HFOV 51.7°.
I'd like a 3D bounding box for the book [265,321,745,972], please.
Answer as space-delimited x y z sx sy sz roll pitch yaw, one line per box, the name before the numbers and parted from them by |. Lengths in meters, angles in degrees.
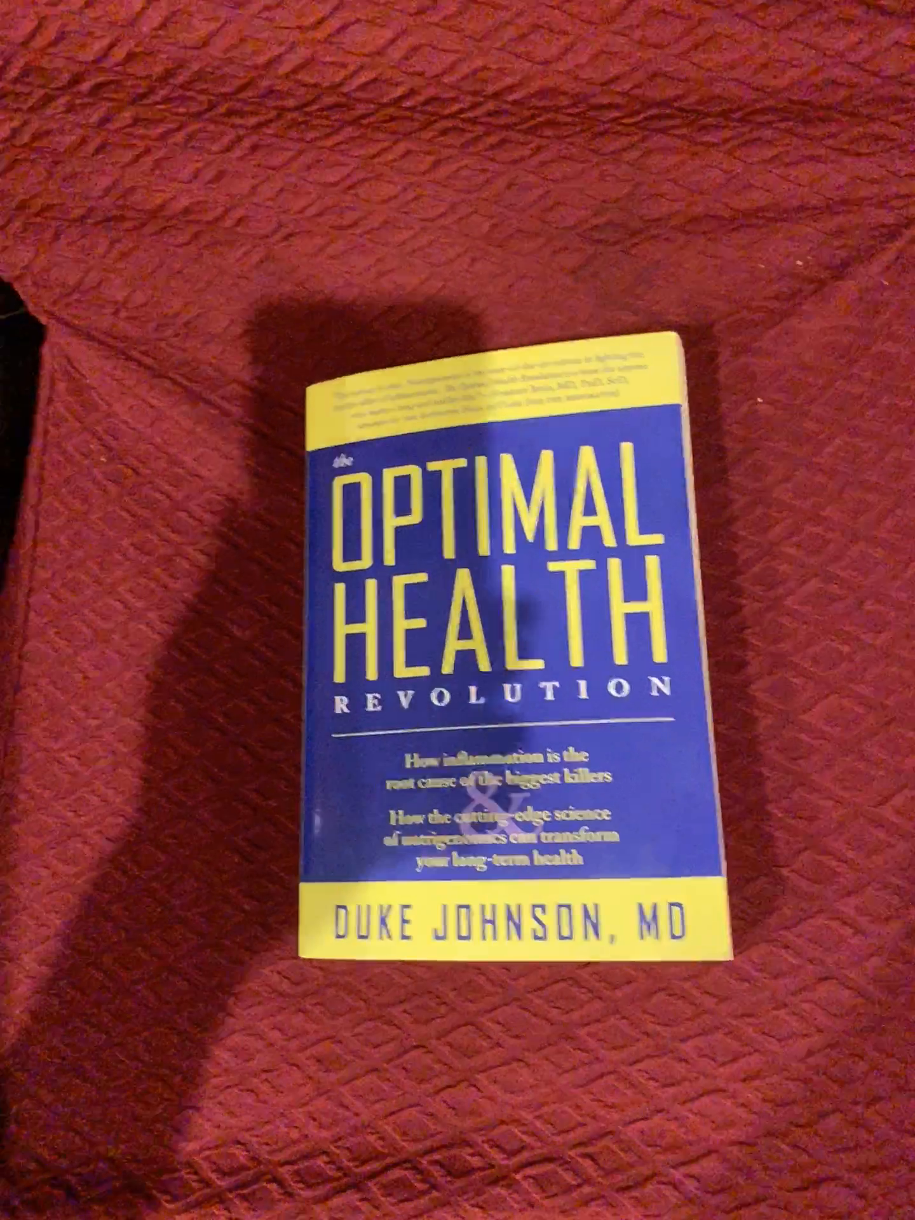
book | 0.016 0.016 0.363 0.161 0.060 0.222 -4 77 13
